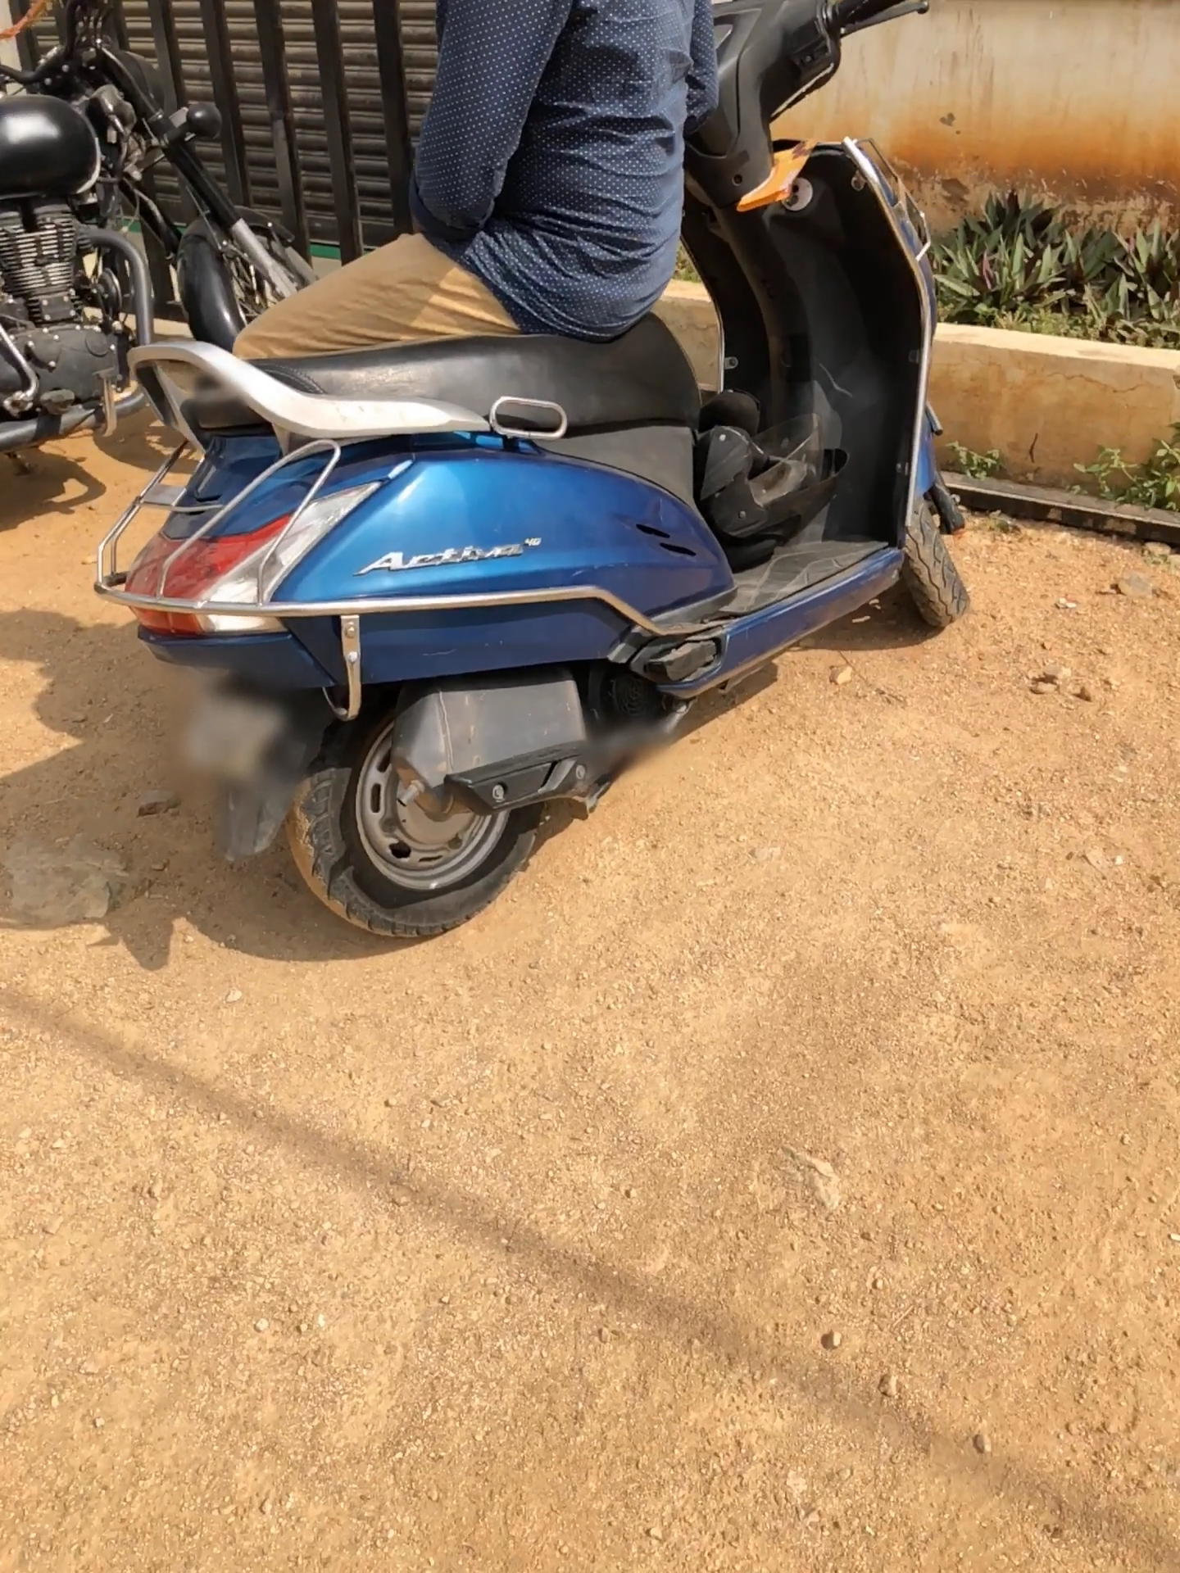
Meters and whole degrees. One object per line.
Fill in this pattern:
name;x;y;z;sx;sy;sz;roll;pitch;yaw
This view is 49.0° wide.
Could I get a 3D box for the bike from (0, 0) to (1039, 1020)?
bike;0.004;-0.654;2.023;0.623;1.115;1.556;23;41;33
